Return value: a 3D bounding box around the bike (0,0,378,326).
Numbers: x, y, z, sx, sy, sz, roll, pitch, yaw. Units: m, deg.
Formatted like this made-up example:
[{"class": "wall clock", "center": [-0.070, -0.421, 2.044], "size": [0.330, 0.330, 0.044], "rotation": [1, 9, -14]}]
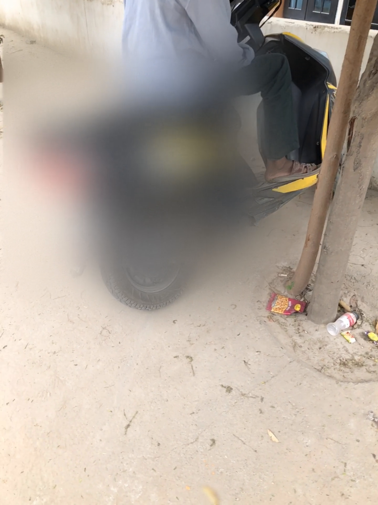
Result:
[{"class": "bike", "center": [0.094, -0.676, 1.909], "size": [1.579, 1.144, 0.634], "rotation": [-31, 45, -34]}]
